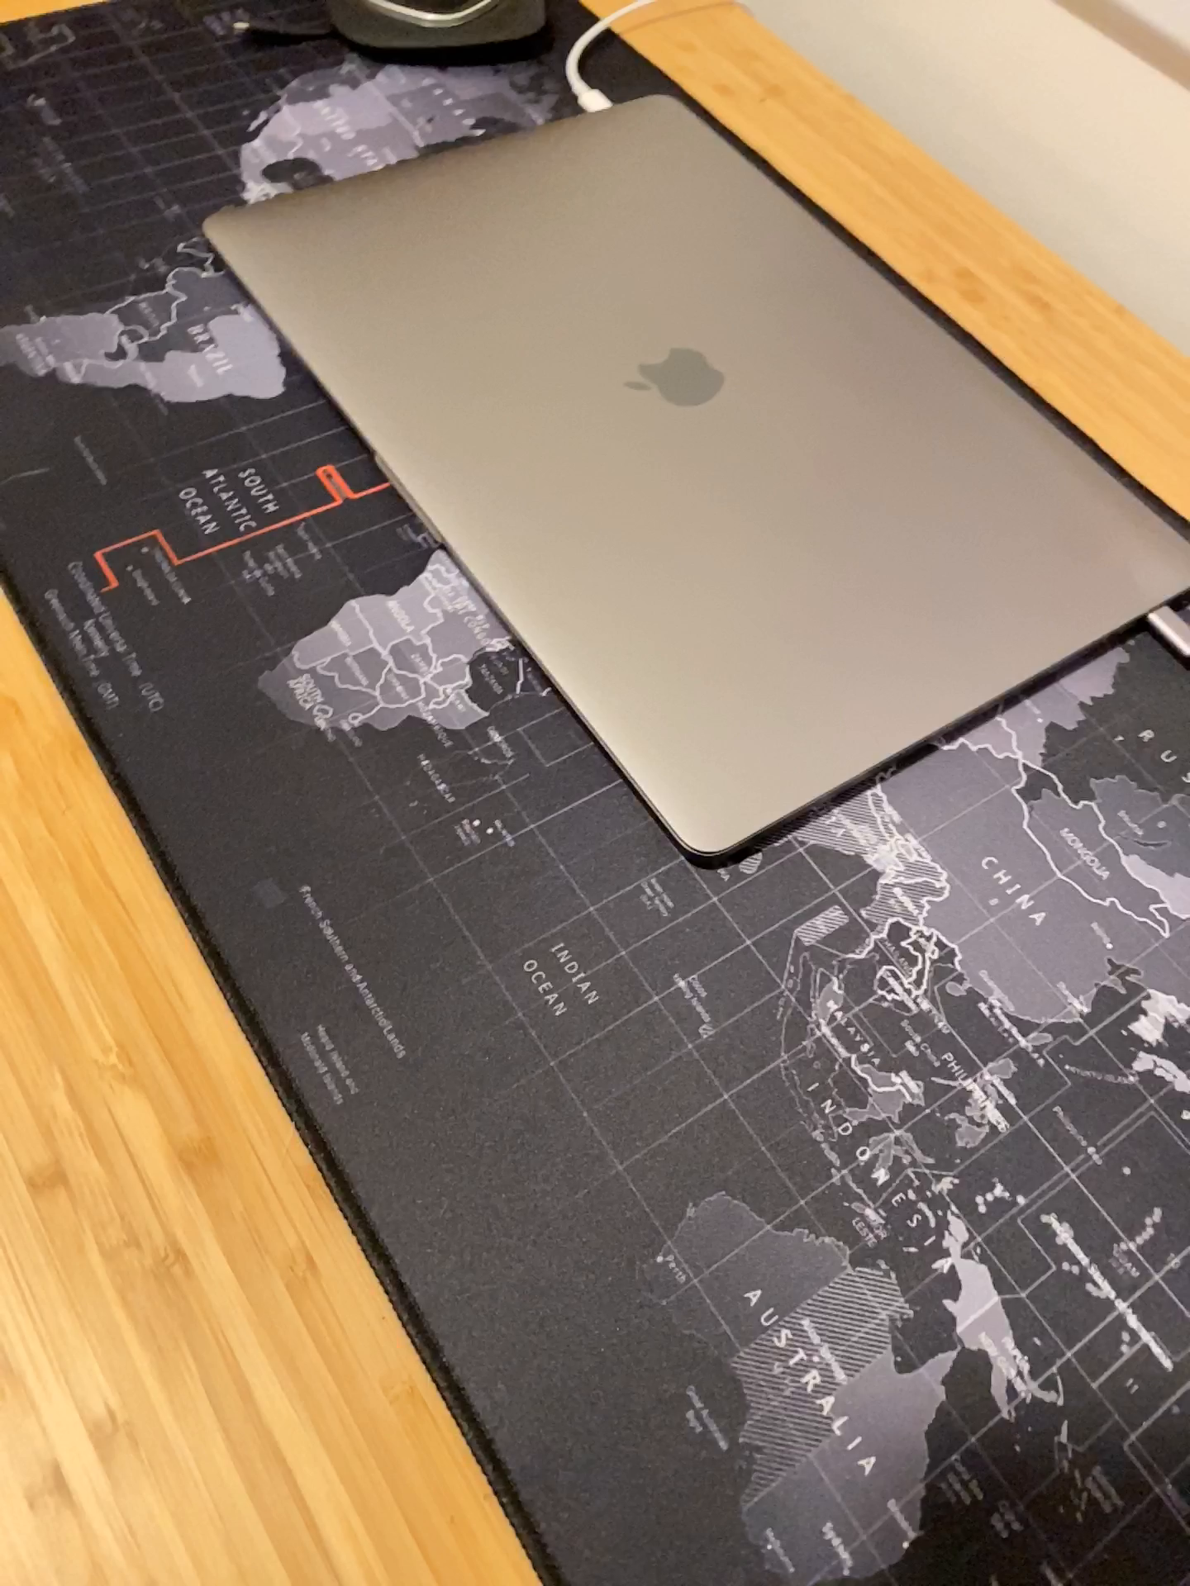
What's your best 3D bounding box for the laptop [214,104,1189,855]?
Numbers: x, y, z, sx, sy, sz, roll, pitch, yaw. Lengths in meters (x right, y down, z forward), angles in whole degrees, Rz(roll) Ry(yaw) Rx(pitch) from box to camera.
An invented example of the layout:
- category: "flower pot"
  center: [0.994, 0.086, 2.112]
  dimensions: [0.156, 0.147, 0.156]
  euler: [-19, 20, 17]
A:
- category: "laptop"
  center: [0.030, -0.154, 0.463]
  dimensions: [0.227, 0.002, 0.336]
  euler: [-27, 63, -21]
